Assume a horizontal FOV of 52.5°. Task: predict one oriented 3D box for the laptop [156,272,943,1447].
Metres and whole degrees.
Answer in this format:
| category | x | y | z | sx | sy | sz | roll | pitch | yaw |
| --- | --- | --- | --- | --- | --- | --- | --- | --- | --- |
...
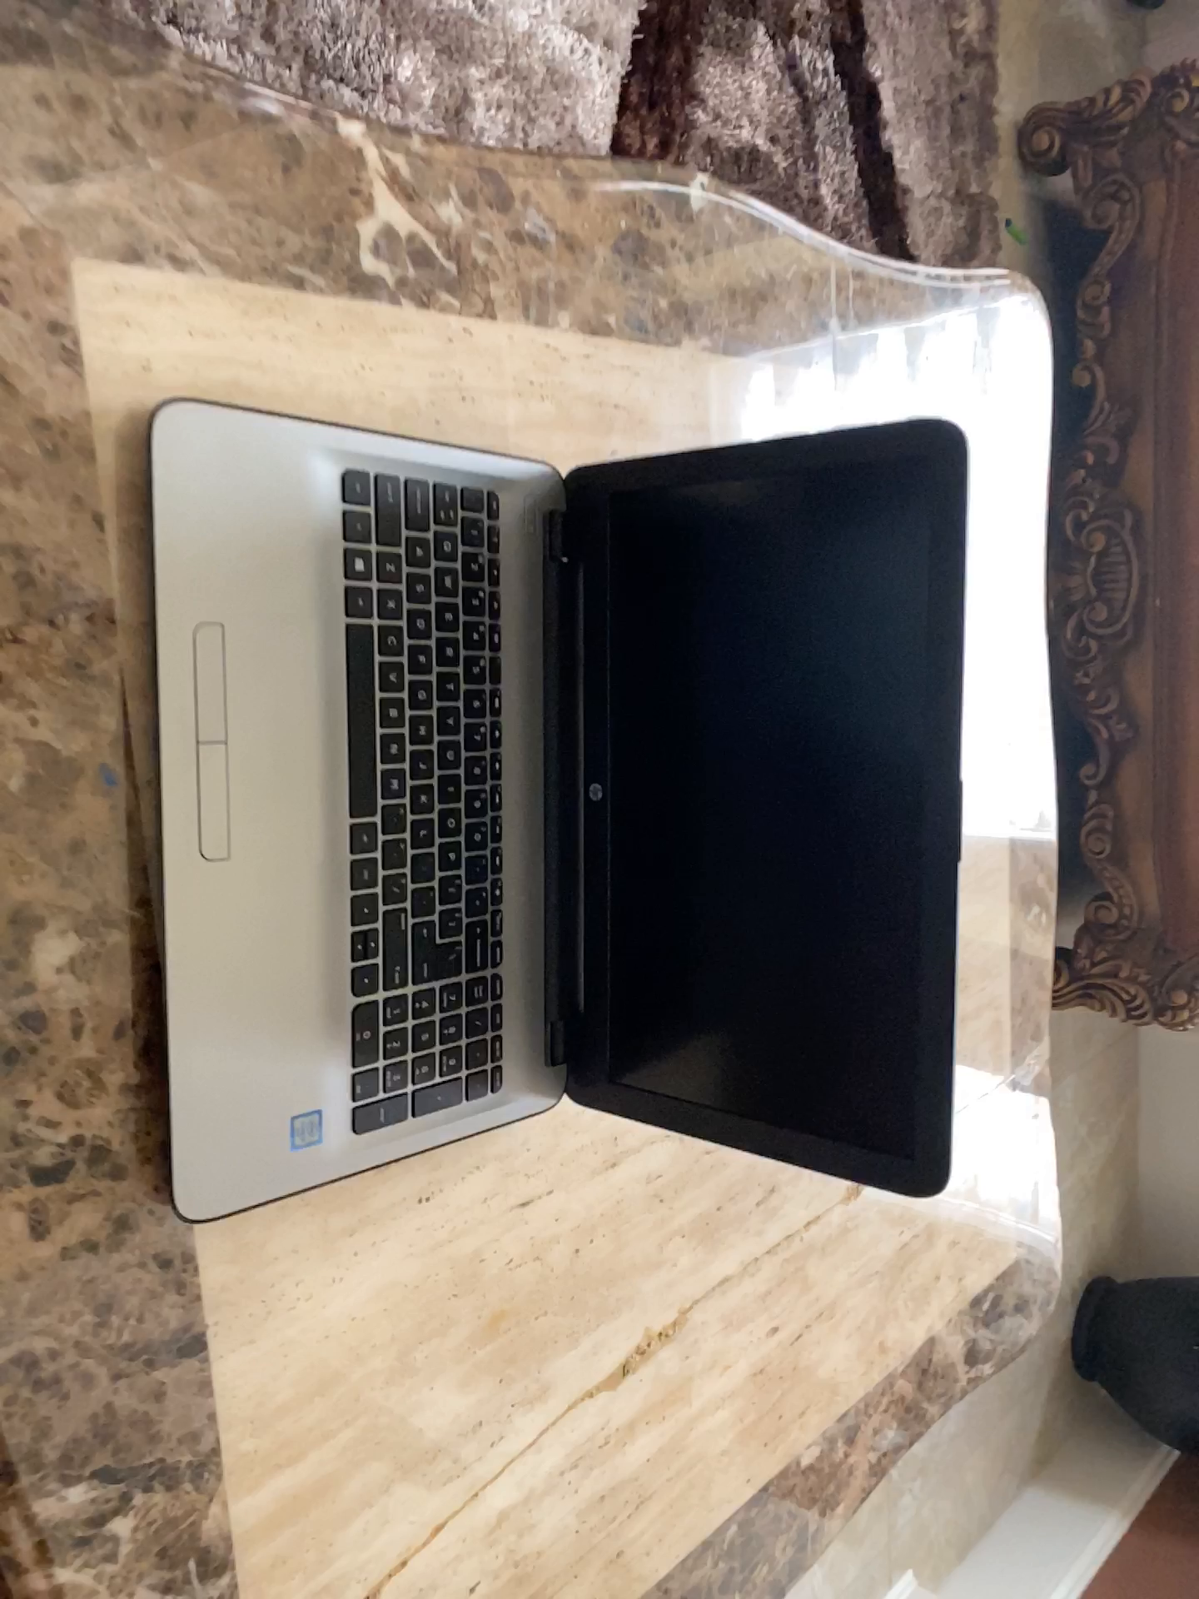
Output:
| category | x | y | z | sx | sy | sz | roll | pitch | yaw |
| --- | --- | --- | --- | --- | --- | --- | --- | --- | --- |
| laptop | -0.017 | 0.012 | 0.562 | 0.266 | 0.239 | 0.371 | -6 | 98 | -47 |
